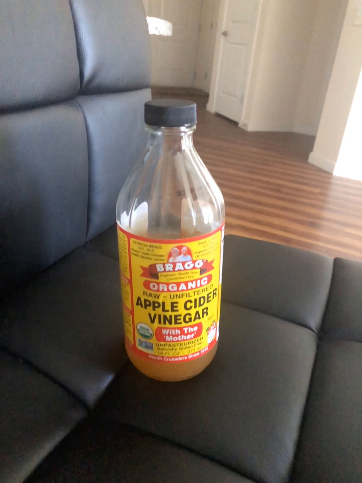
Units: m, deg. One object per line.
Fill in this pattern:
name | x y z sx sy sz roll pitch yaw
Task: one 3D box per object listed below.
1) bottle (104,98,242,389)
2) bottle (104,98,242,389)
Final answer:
bottle | -0.007 0.002 0.271 0.070 0.179 0.070 0 24 0
bottle | -0.007 0.002 0.271 0.070 0.179 0.070 0 24 0
